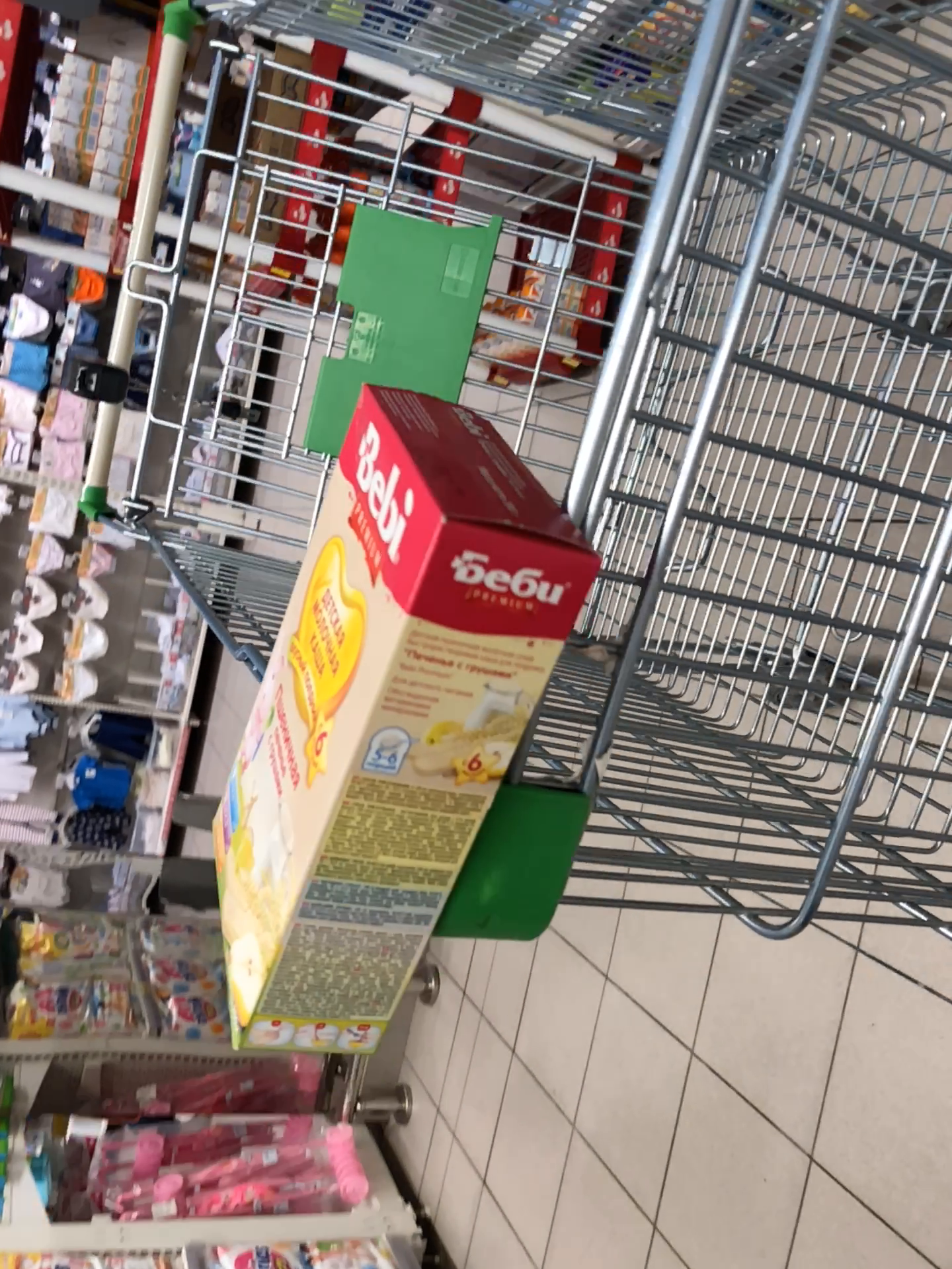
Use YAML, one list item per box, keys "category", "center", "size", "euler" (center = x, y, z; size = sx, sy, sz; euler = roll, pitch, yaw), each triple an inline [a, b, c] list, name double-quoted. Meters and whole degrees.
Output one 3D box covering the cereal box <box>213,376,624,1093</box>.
- category: "cereal box"
  center: [-0.037, 0.034, 0.368]
  size: [0.210, 0.050, 0.130]
  euler: [-67, 25, 23]
